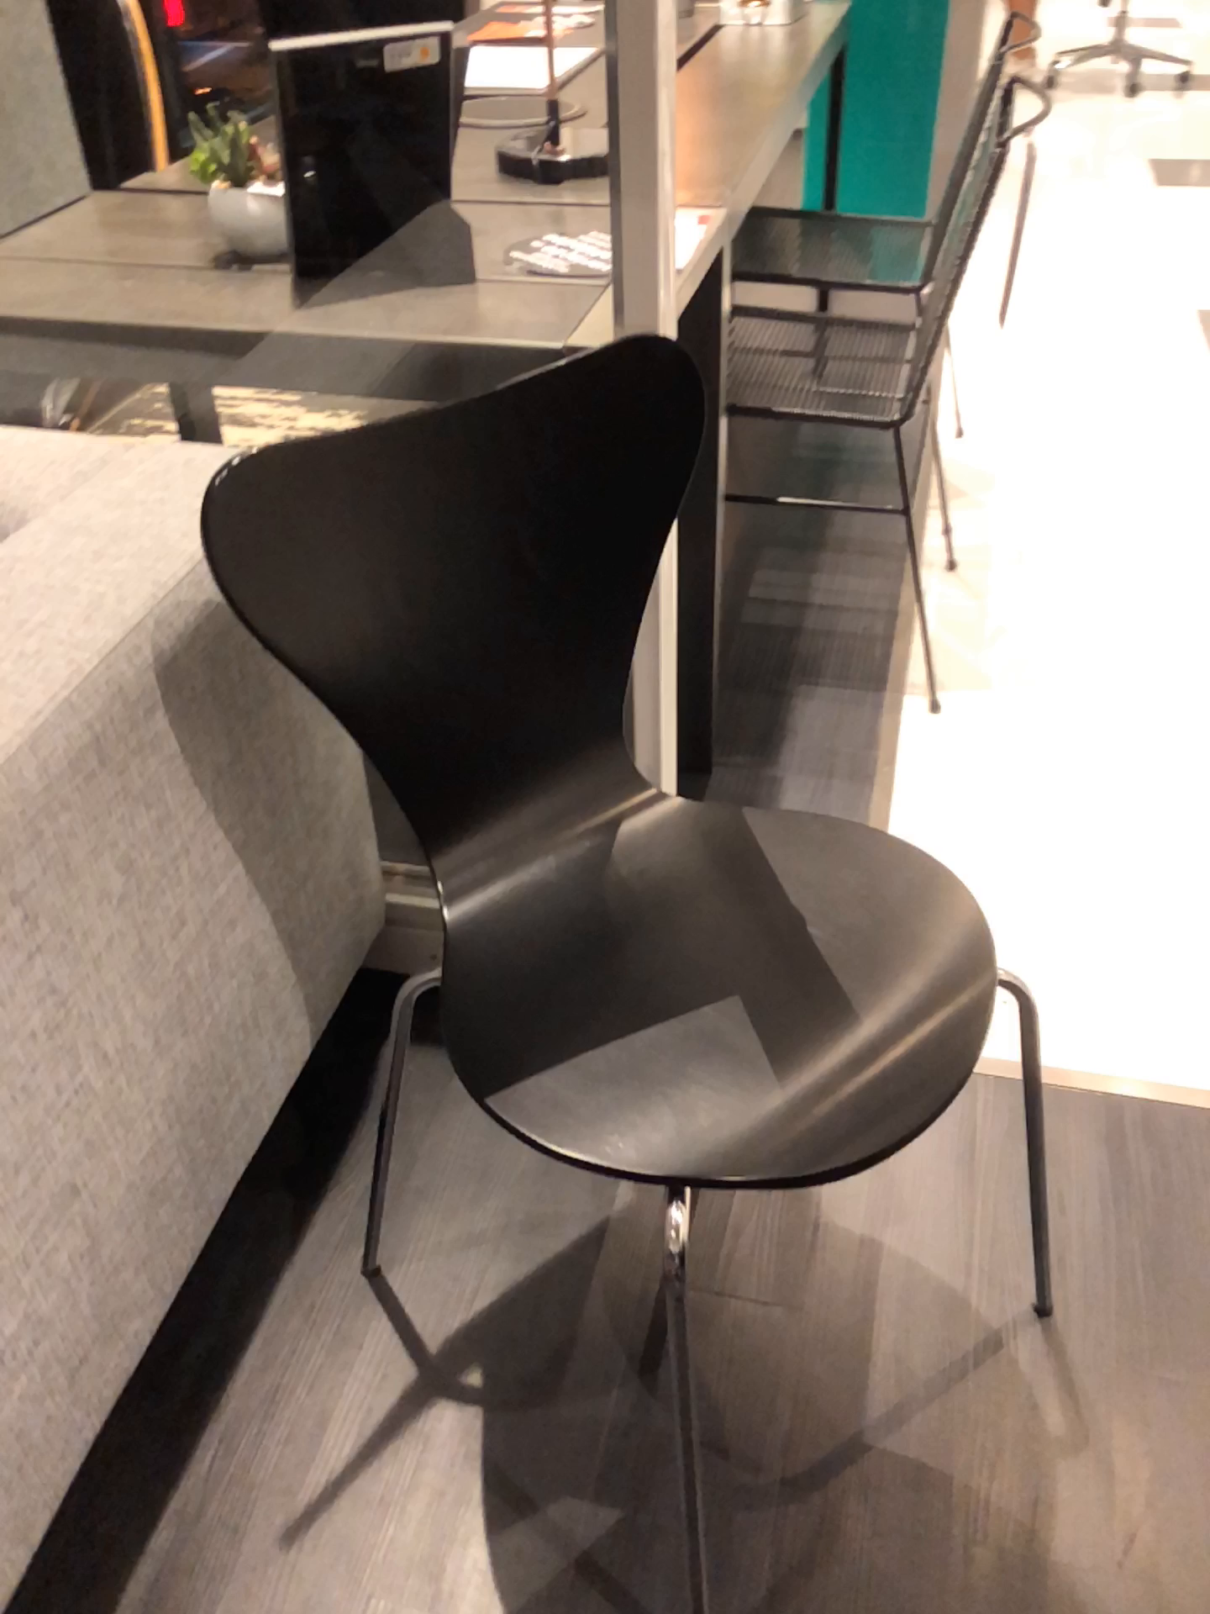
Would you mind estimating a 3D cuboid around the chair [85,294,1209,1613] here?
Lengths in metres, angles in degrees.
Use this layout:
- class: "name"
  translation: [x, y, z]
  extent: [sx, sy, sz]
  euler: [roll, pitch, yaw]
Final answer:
- class: "chair"
  translation: [0.057, 0.137, 0.996]
  extent: [0.491, 0.804, 0.502]
  euler: [-29, 45, -31]
